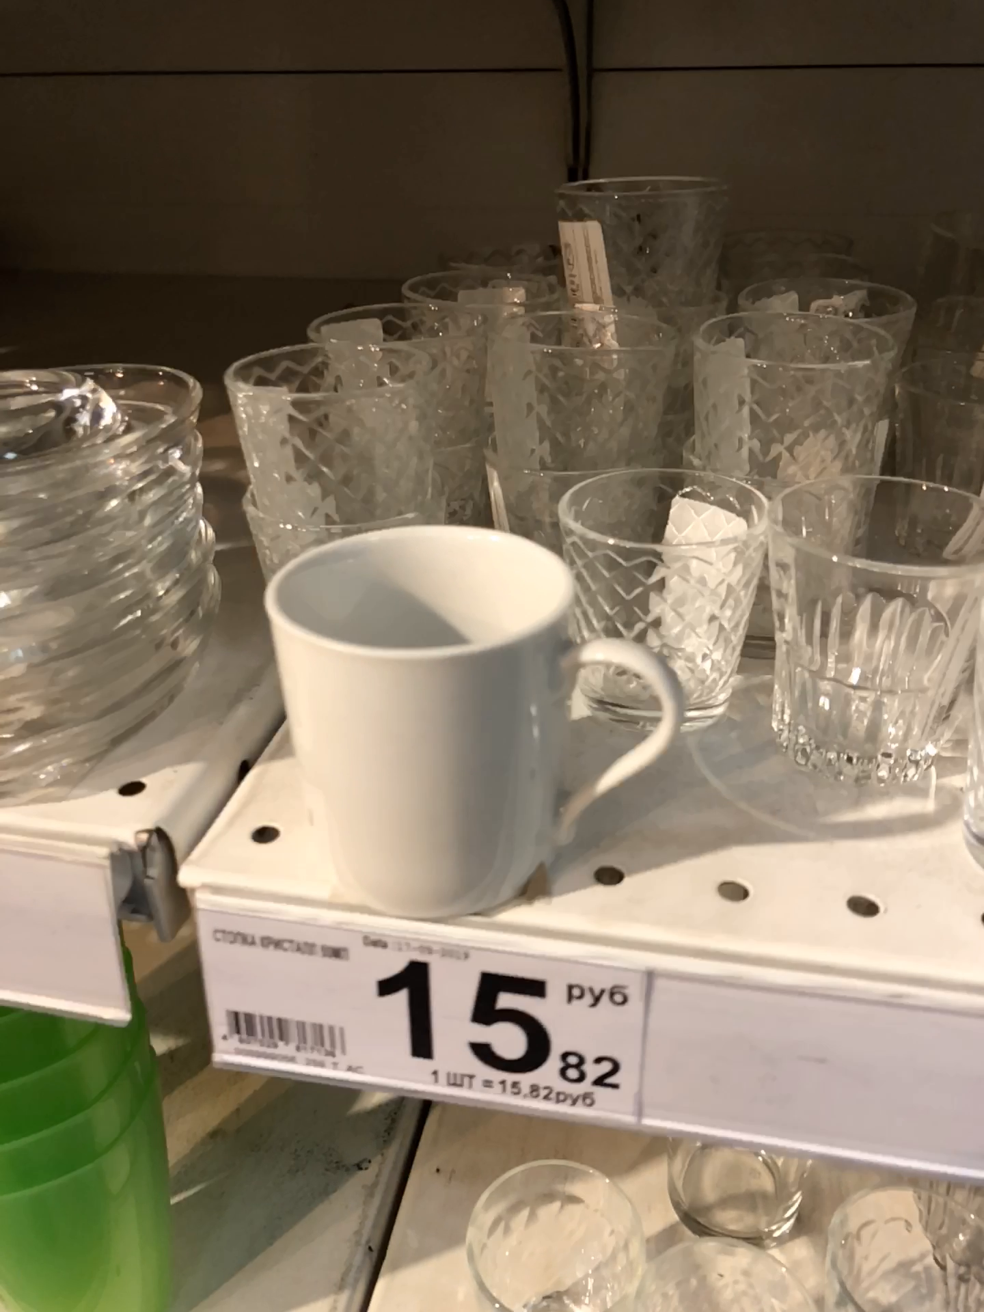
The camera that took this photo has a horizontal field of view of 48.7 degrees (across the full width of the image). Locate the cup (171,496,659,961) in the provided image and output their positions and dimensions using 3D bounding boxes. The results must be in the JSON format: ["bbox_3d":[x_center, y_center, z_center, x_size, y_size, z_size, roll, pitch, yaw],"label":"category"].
[{"bbox_3d":[-0.010,0.010,0.214,0.074,0.060,0.057,8,31,15],"label":"cup"}]
